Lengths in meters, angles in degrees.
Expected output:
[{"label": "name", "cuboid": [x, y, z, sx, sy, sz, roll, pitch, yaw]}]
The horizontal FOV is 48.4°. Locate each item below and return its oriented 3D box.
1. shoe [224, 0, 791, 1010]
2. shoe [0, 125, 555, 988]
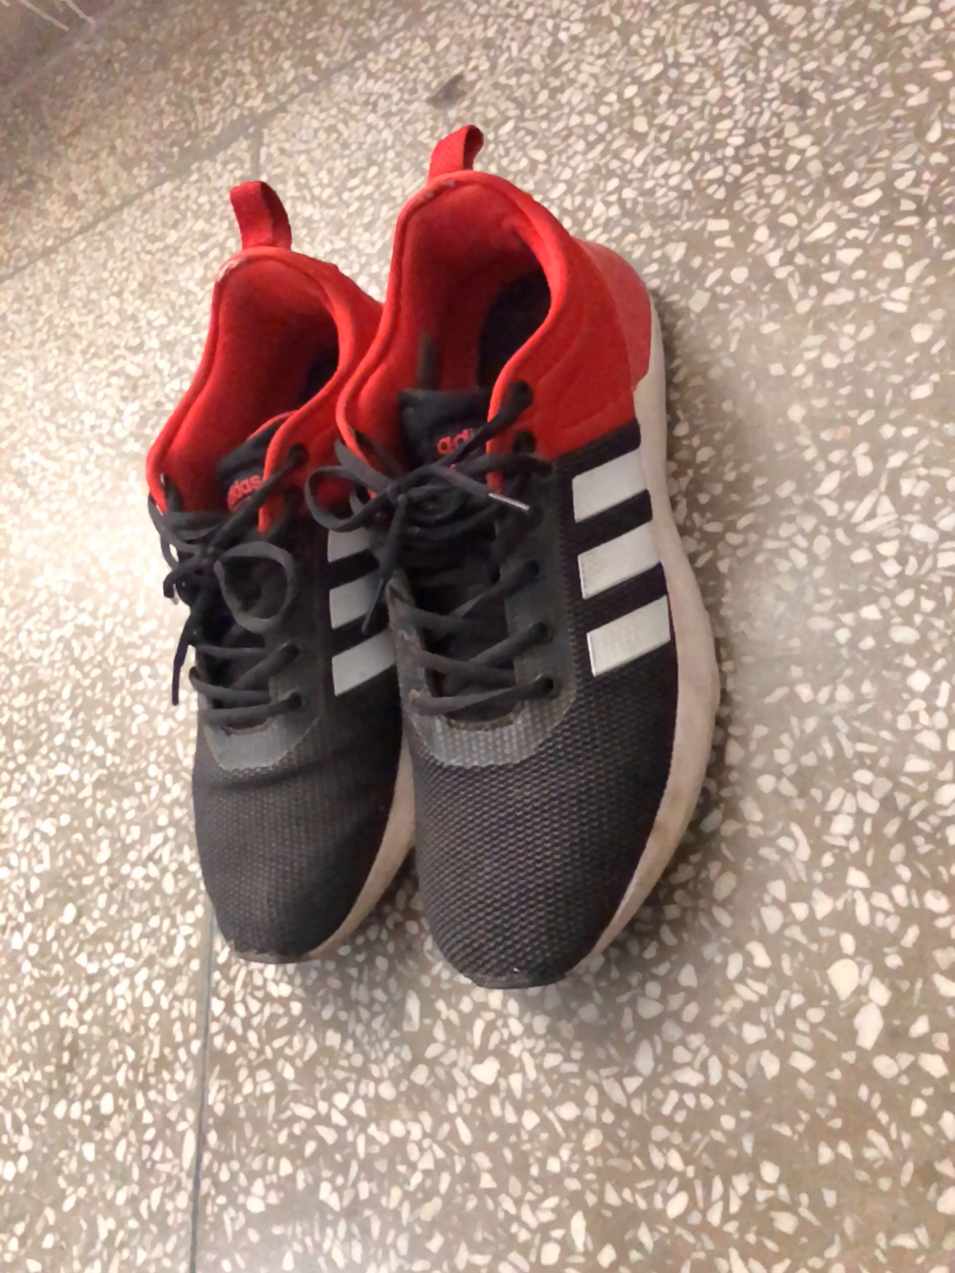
[{"label": "shoe", "cuboid": [0.026, -0.037, 0.397, 0.131, 0.139, 0.320, -9, 66, 31]}, {"label": "shoe", "cuboid": [-0.067, -0.023, 0.449, 0.131, 0.139, 0.310, -7, 67, 32]}]
